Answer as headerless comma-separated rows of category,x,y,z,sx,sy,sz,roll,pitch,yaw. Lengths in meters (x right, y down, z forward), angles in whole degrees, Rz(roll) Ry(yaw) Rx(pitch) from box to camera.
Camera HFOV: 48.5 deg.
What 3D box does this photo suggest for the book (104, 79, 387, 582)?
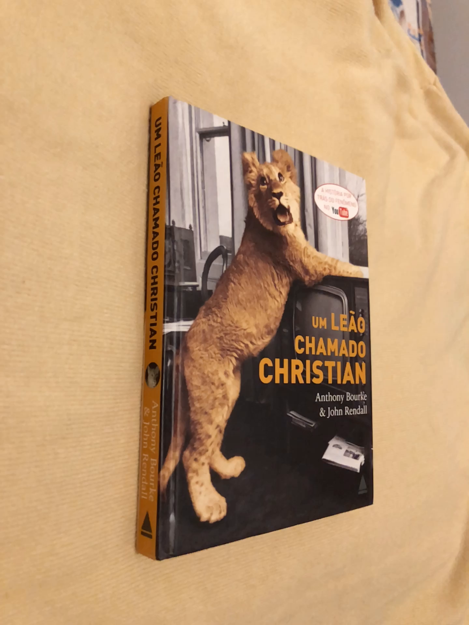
book,0.012,0.007,0.263,0.151,0.030,0.200,6,78,-38
